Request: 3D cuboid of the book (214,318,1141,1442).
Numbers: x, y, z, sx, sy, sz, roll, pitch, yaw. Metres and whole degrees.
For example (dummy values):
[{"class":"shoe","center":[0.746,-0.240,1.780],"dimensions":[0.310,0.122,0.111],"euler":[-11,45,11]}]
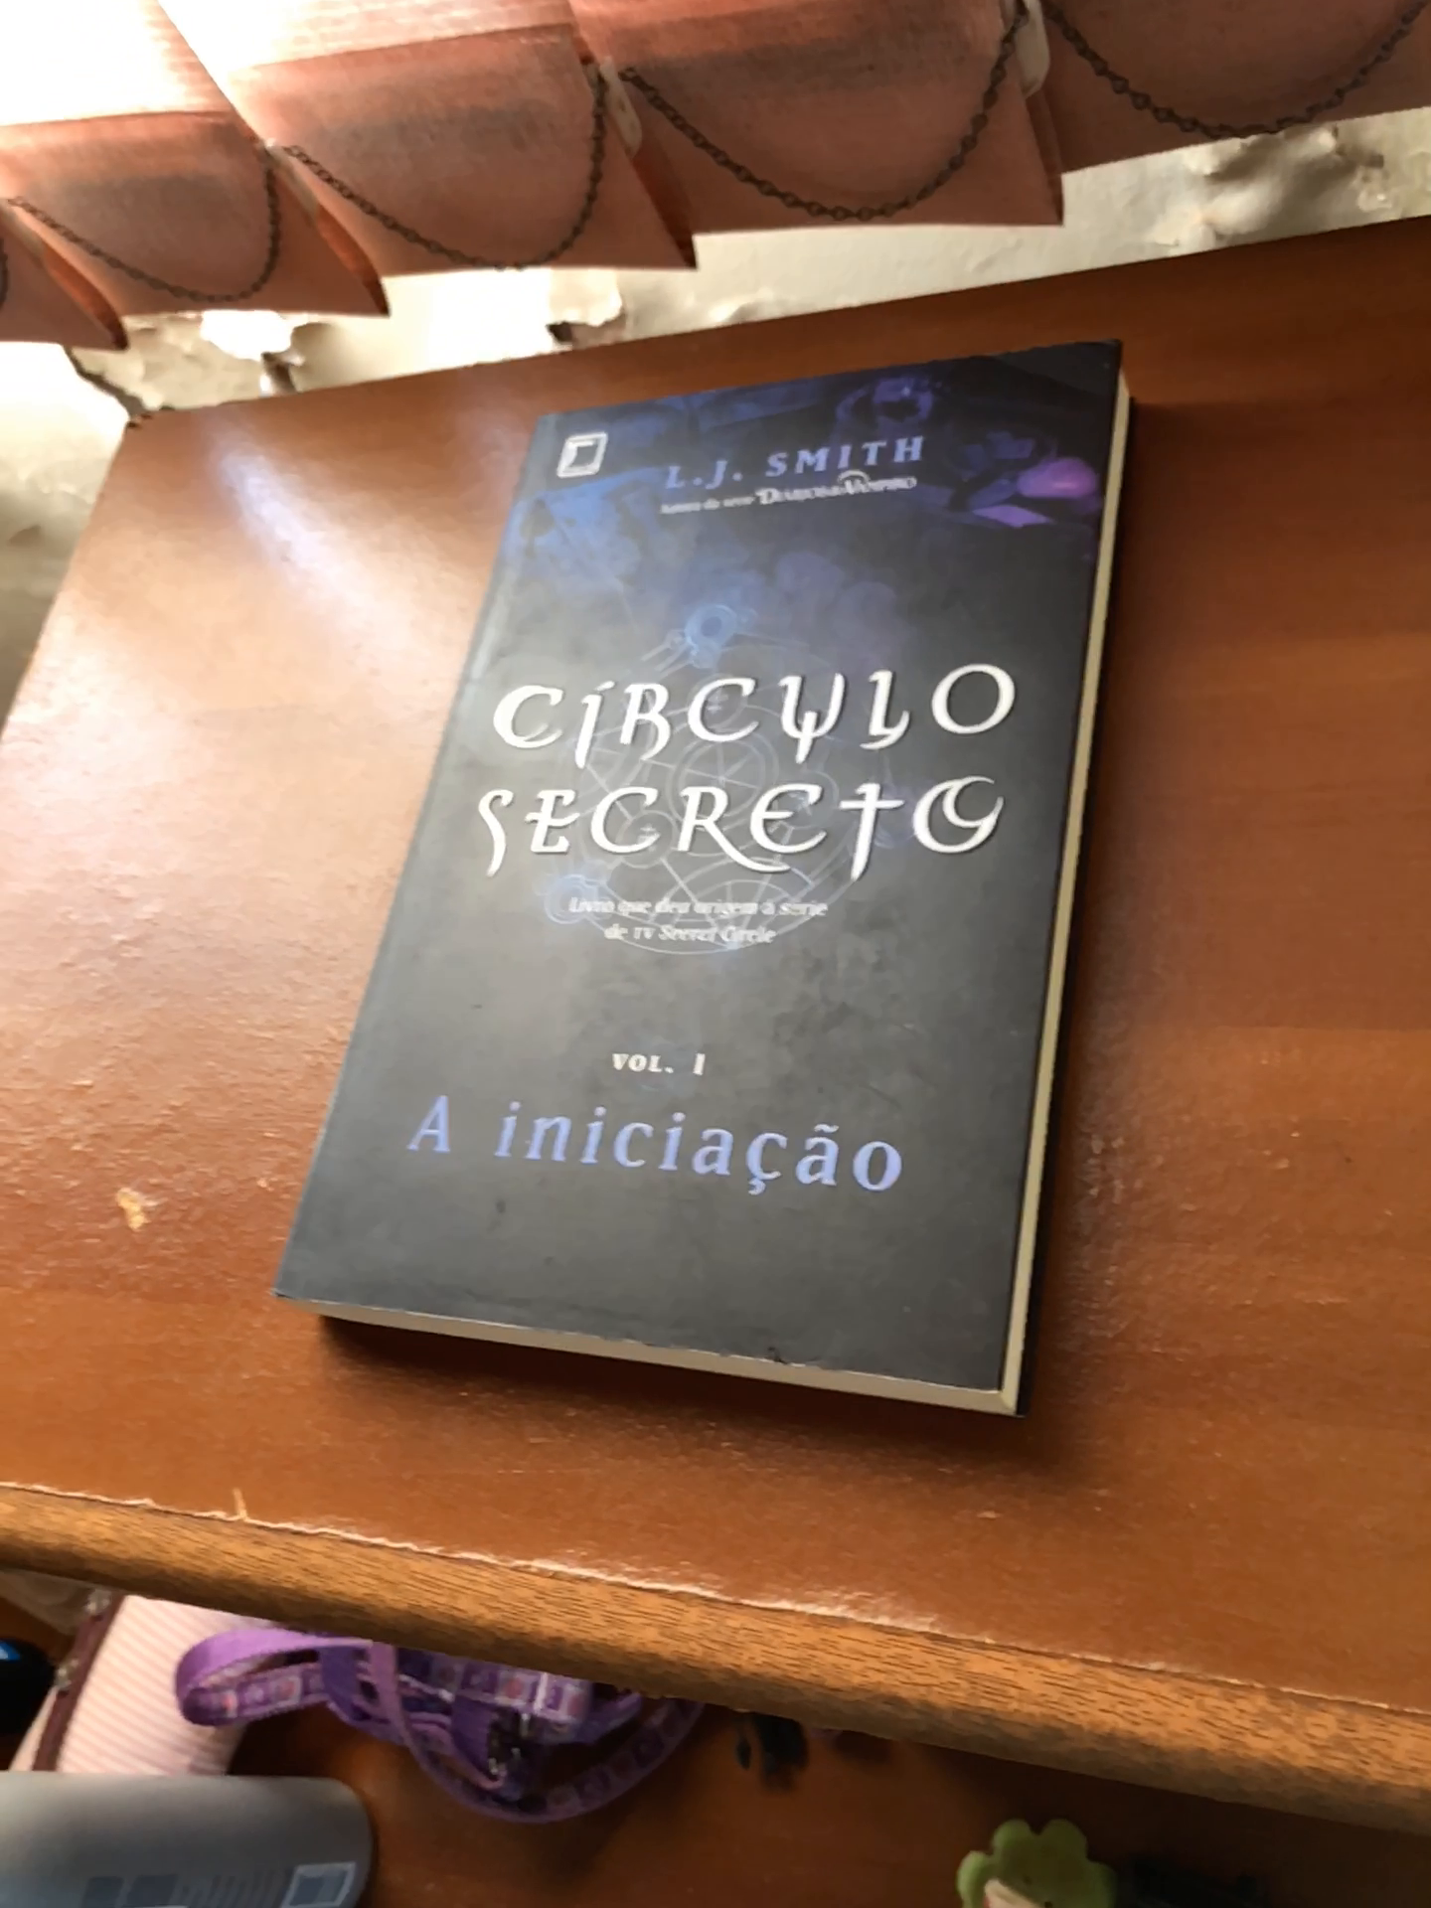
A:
[{"class":"book","center":[0.001,-0.027,0.307],"dimensions":[0.140,0.024,0.214],"euler":[1,64,22]}]
